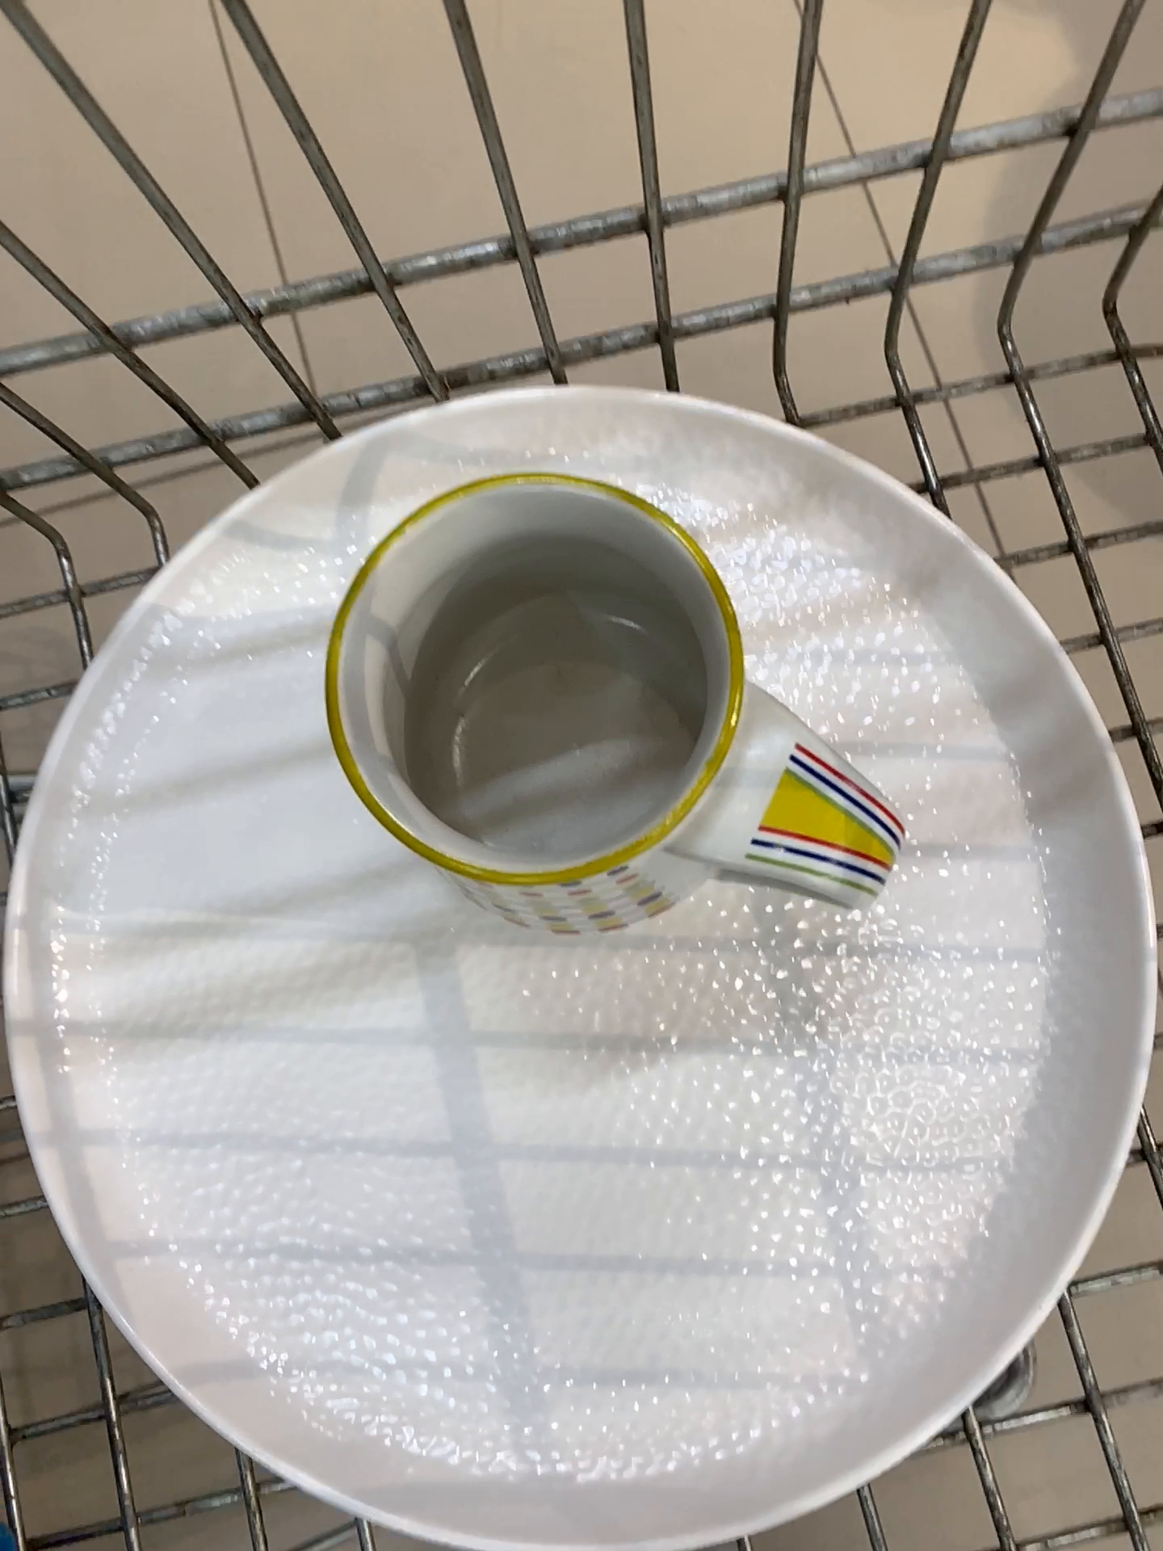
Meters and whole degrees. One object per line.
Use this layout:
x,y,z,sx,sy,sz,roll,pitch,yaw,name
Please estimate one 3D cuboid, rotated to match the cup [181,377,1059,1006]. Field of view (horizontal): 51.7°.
0.009,-0.006,0.227,0.120,0.100,0.080,8,80,4,cup
